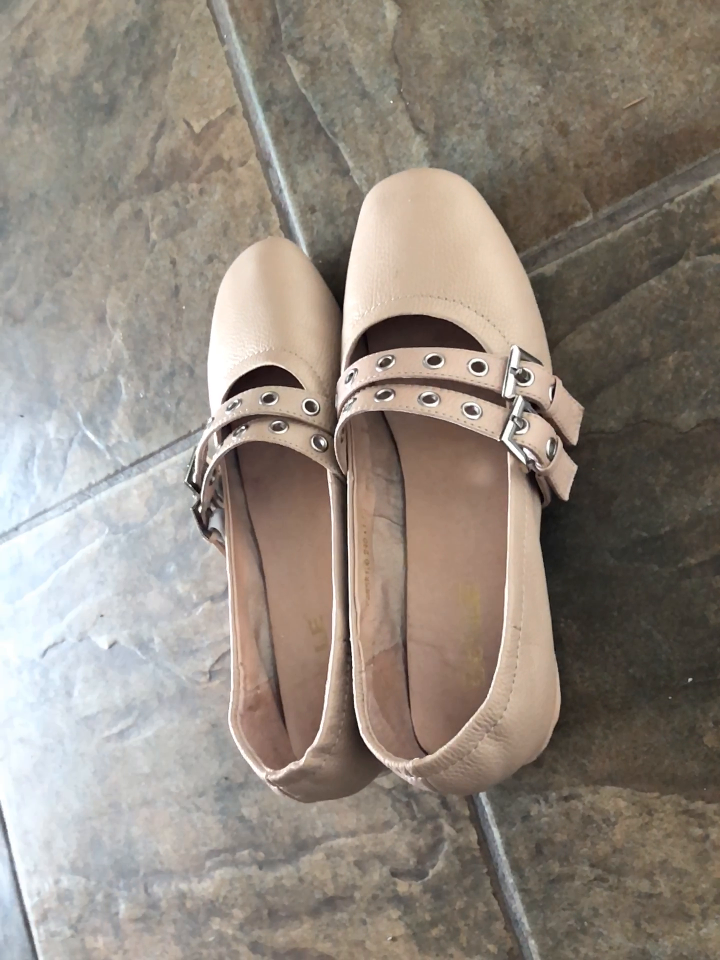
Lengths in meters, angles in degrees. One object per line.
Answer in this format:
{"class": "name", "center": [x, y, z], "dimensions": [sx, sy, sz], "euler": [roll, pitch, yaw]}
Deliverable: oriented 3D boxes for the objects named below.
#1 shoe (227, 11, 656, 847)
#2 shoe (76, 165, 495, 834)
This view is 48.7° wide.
{"class": "shoe", "center": [0.032, -0.013, 0.295], "dimensions": [0.090, 0.090, 0.250], "euler": [-11, 85, 31]}
{"class": "shoe", "center": [-0.034, 0.011, 0.356], "dimensions": [0.100, 0.090, 0.250], "euler": [-18, 82, 30]}
